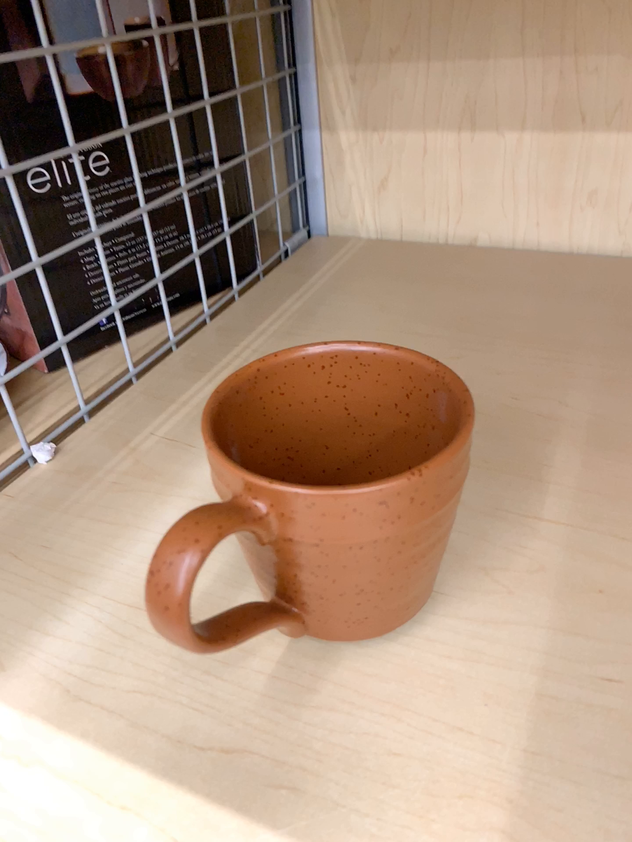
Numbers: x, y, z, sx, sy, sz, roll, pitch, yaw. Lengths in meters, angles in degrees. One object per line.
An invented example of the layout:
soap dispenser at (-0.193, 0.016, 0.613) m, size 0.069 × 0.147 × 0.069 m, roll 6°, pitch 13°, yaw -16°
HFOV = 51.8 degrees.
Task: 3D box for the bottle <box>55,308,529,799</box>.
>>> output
bottle at (0.001, 0.034, 0.251) m, size 0.100 × 0.090 × 0.140 m, roll 20°, pitch 41°, yaw 32°
